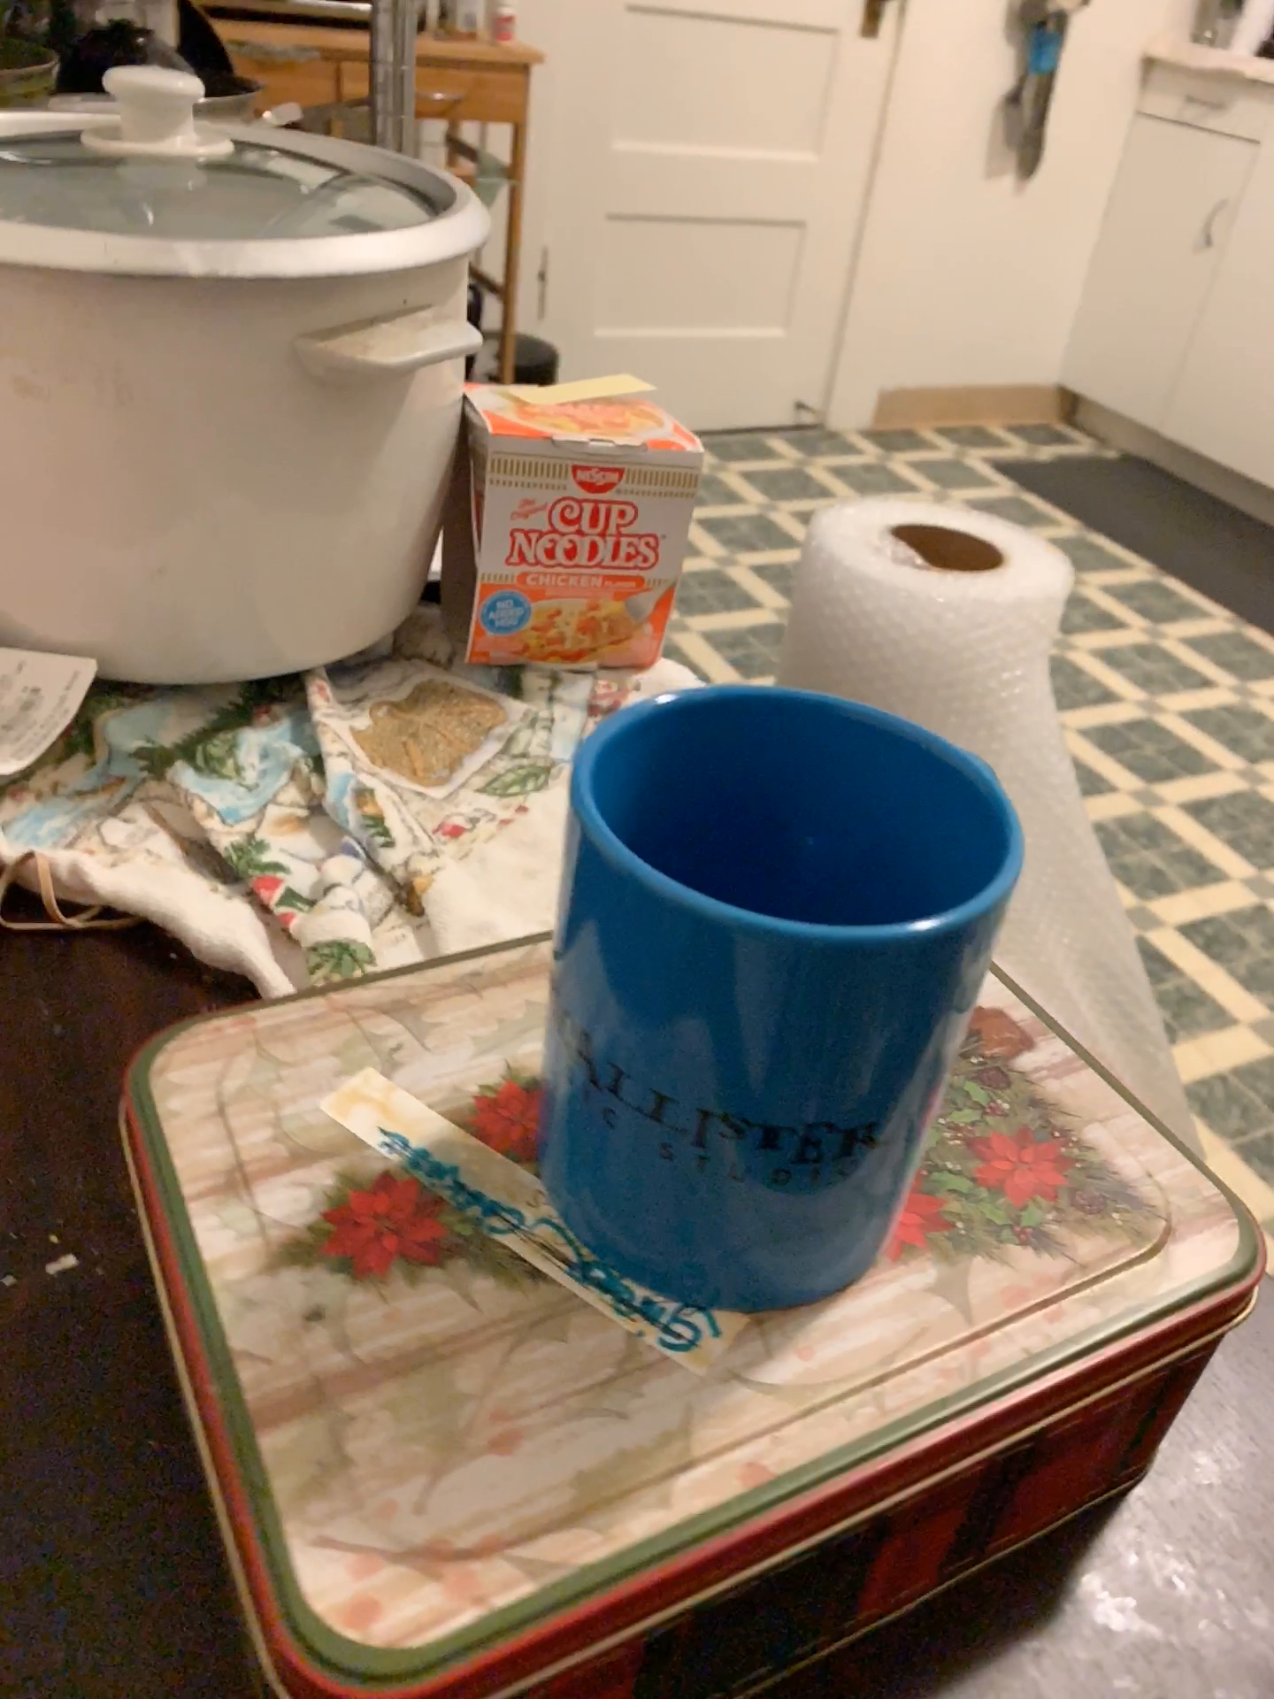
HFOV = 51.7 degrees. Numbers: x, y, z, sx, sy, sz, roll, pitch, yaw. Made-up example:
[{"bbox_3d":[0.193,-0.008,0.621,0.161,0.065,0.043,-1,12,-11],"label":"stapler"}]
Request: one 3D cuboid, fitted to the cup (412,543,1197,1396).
[{"bbox_3d":[0.033,0.013,0.274,0.090,0.099,0.130,30,40,28],"label":"cup"}]
